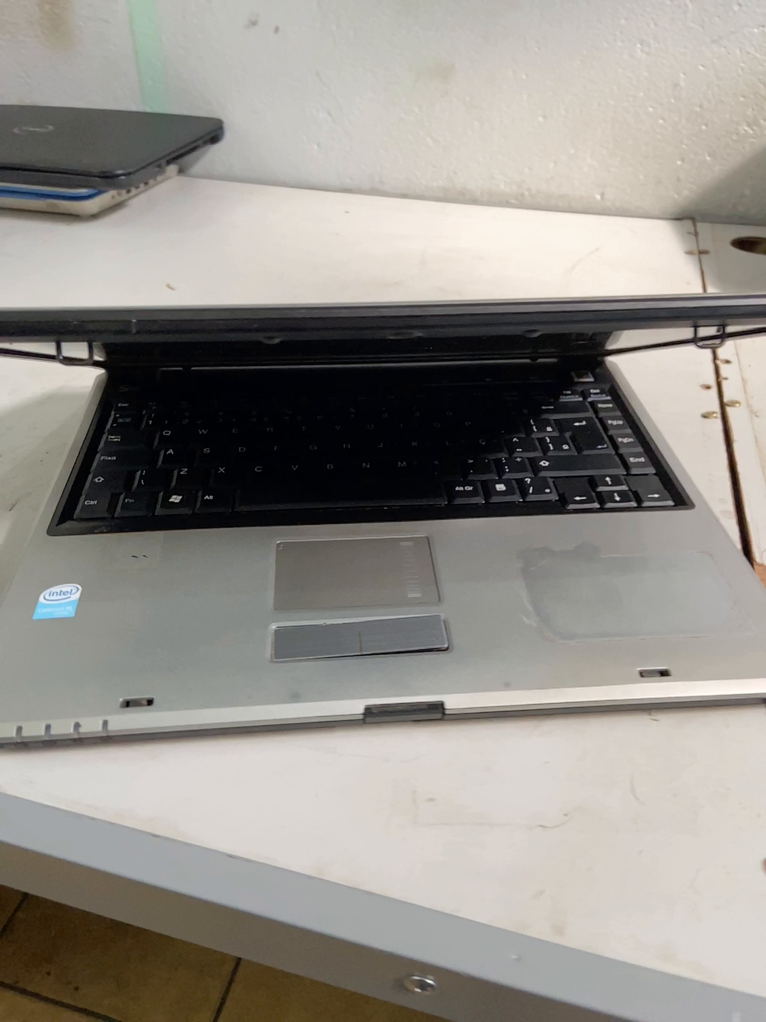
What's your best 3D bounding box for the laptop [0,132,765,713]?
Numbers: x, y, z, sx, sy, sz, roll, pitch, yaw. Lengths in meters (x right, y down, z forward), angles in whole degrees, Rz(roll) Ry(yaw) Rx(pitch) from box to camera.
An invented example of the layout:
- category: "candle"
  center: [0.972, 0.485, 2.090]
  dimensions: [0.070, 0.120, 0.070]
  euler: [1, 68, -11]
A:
- category: "laptop"
  center: [-0.005, -0.063, 0.355]
  dimensions: [0.316, 0.130, 0.255]
  euler: [-3, 38, -2]
